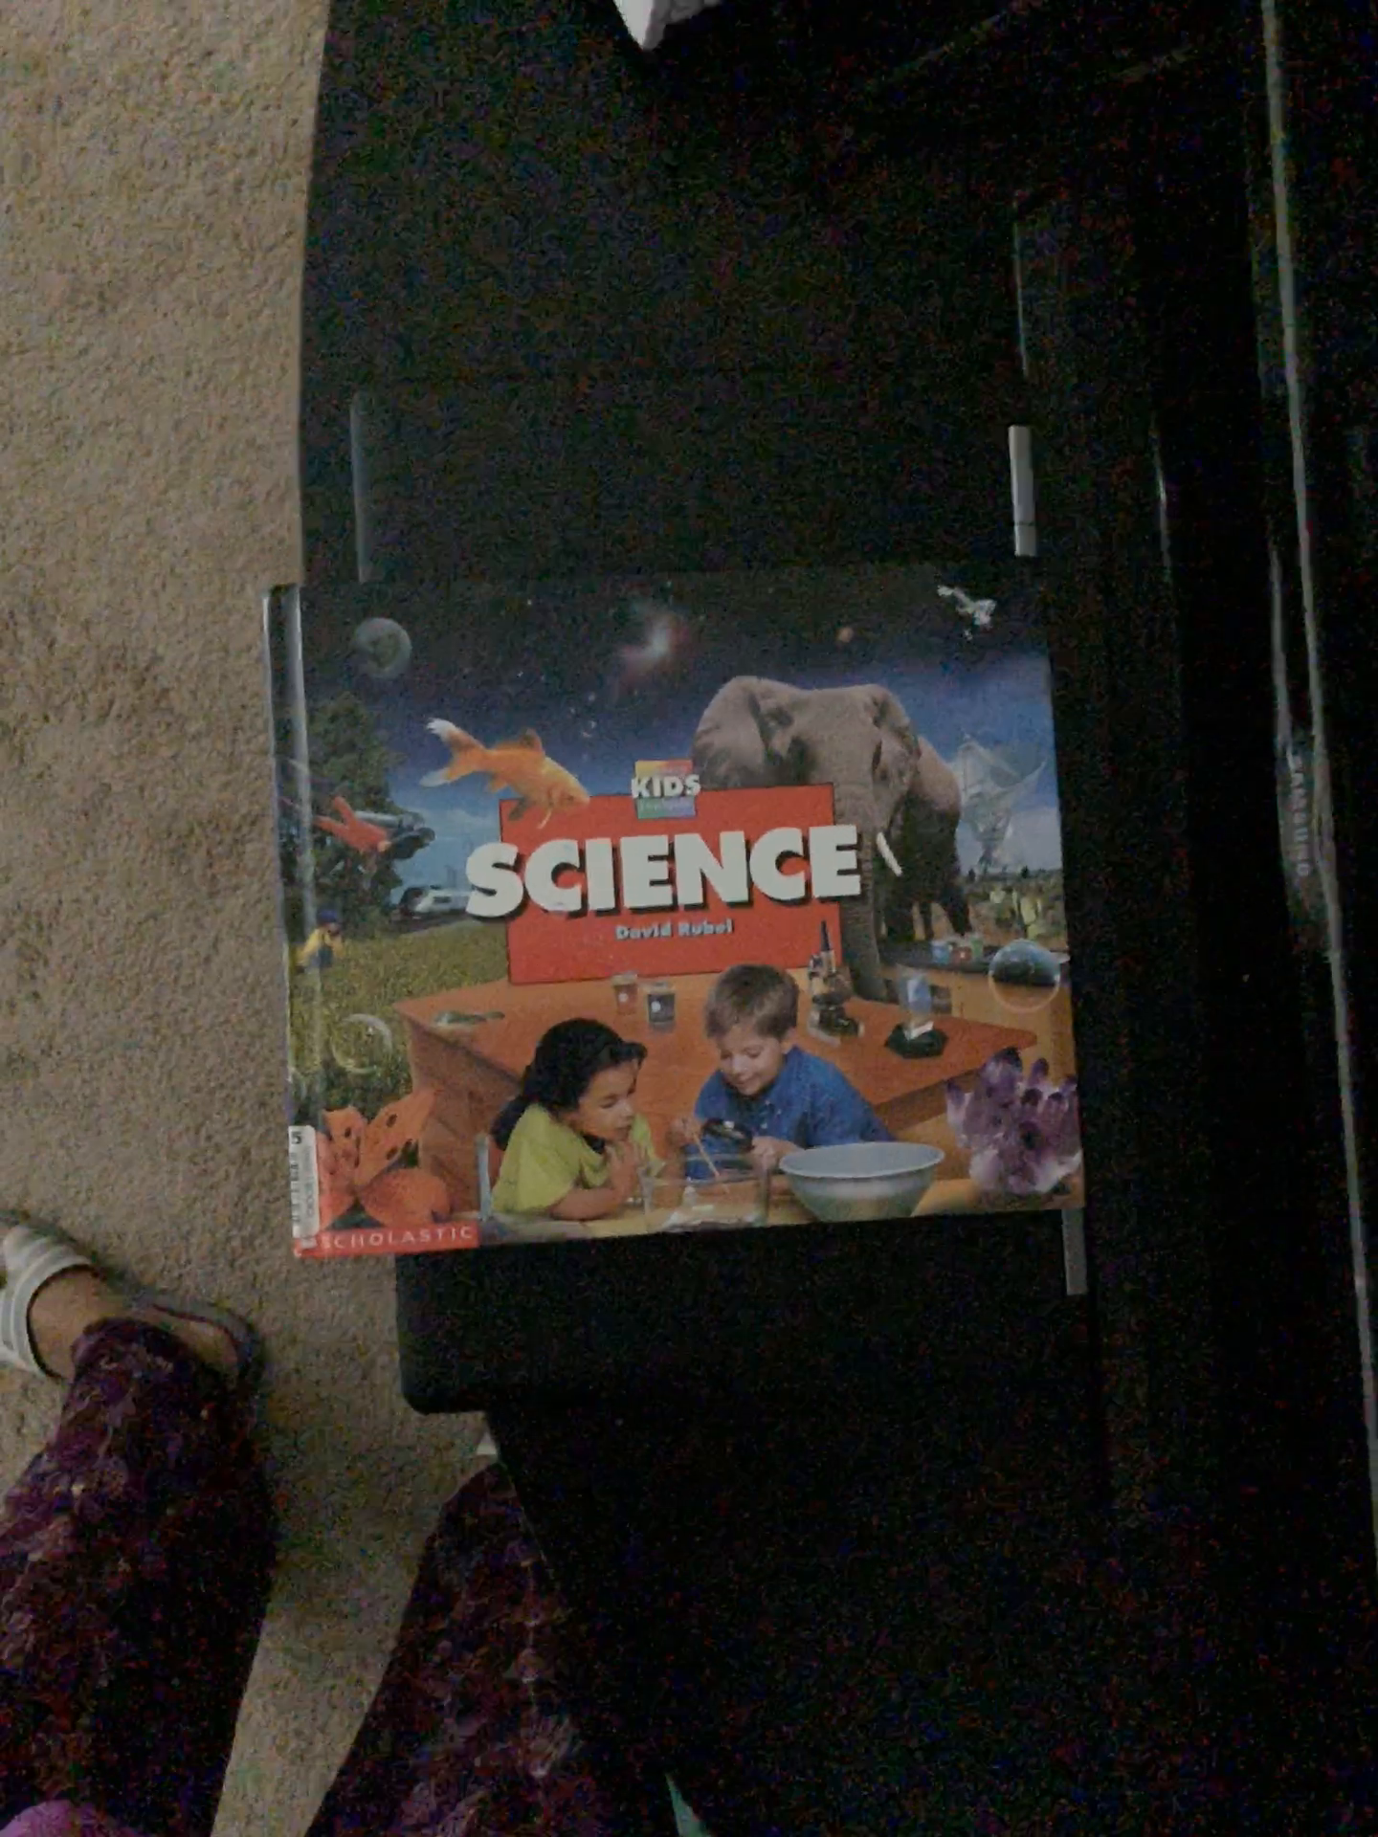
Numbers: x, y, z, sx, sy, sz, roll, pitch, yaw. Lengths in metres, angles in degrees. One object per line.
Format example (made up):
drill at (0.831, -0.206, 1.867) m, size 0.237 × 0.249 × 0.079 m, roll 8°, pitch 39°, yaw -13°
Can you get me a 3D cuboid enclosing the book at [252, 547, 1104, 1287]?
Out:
book at (-0.004, -0.003, 0.500) m, size 0.280 × 0.030 × 0.240 m, roll -3°, pitch 88°, yaw -2°
